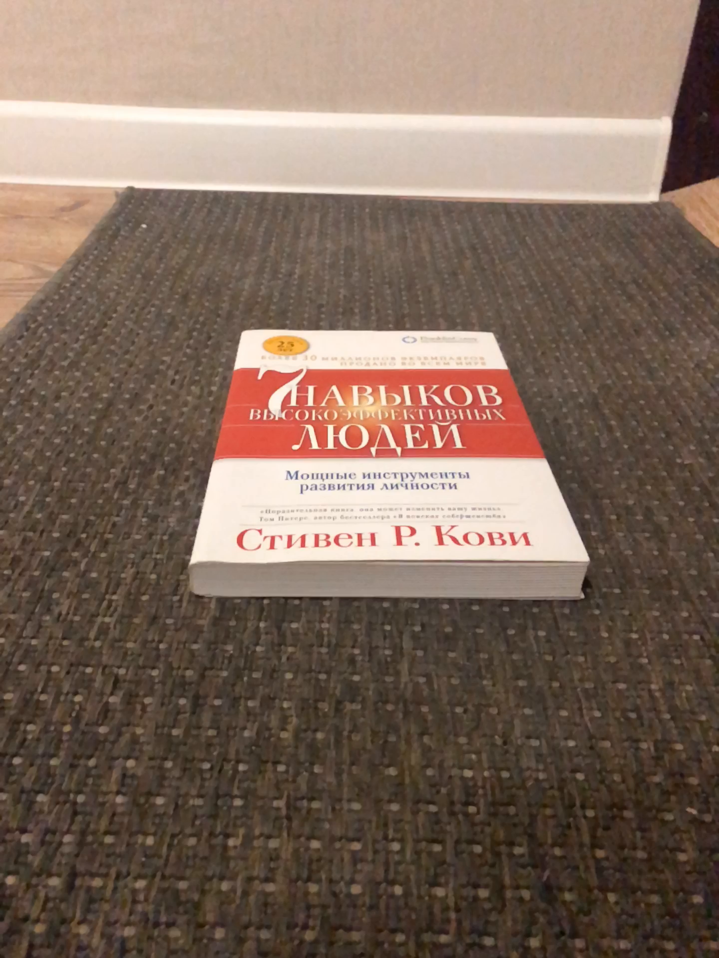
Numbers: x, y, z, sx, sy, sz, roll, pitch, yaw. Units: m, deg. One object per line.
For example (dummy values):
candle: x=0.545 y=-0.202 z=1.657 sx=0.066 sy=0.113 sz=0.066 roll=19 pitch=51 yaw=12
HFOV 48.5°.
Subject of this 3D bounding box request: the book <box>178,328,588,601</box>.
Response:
book: x=0.008 y=-0.024 z=0.426 sx=0.166 sy=0.020 sz=0.237 roll=0 pitch=34 yaw=-1
